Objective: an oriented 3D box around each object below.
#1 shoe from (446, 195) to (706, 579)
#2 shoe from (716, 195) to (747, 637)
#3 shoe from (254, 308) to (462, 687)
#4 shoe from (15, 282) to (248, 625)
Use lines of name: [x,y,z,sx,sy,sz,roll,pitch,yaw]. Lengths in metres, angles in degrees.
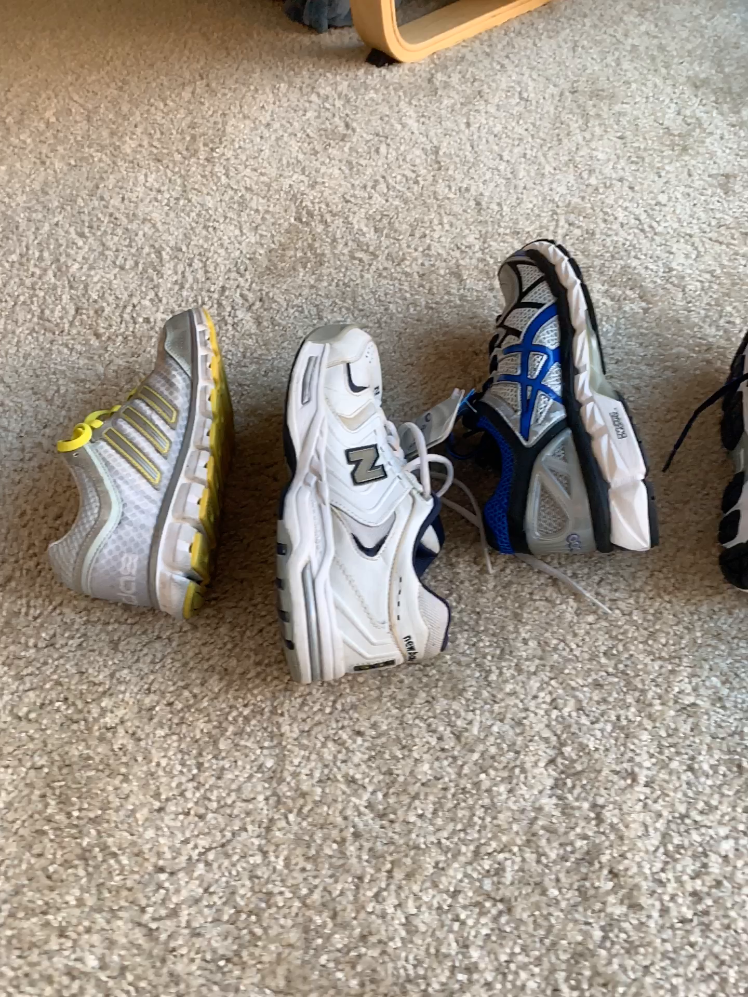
shoe: [0.125,-0.089,0.543,0.130,0.070,0.281,-2,60,2]
shoe: [0.317,-0.068,0.515,0.120,0.119,0.271,13,52,7]
shoe: [-0.013,-0.004,0.477,0.100,0.119,0.201,-2,53,-2]
shoe: [-0.165,-0.039,0.579,0.110,0.119,0.231,-2,54,-1]
